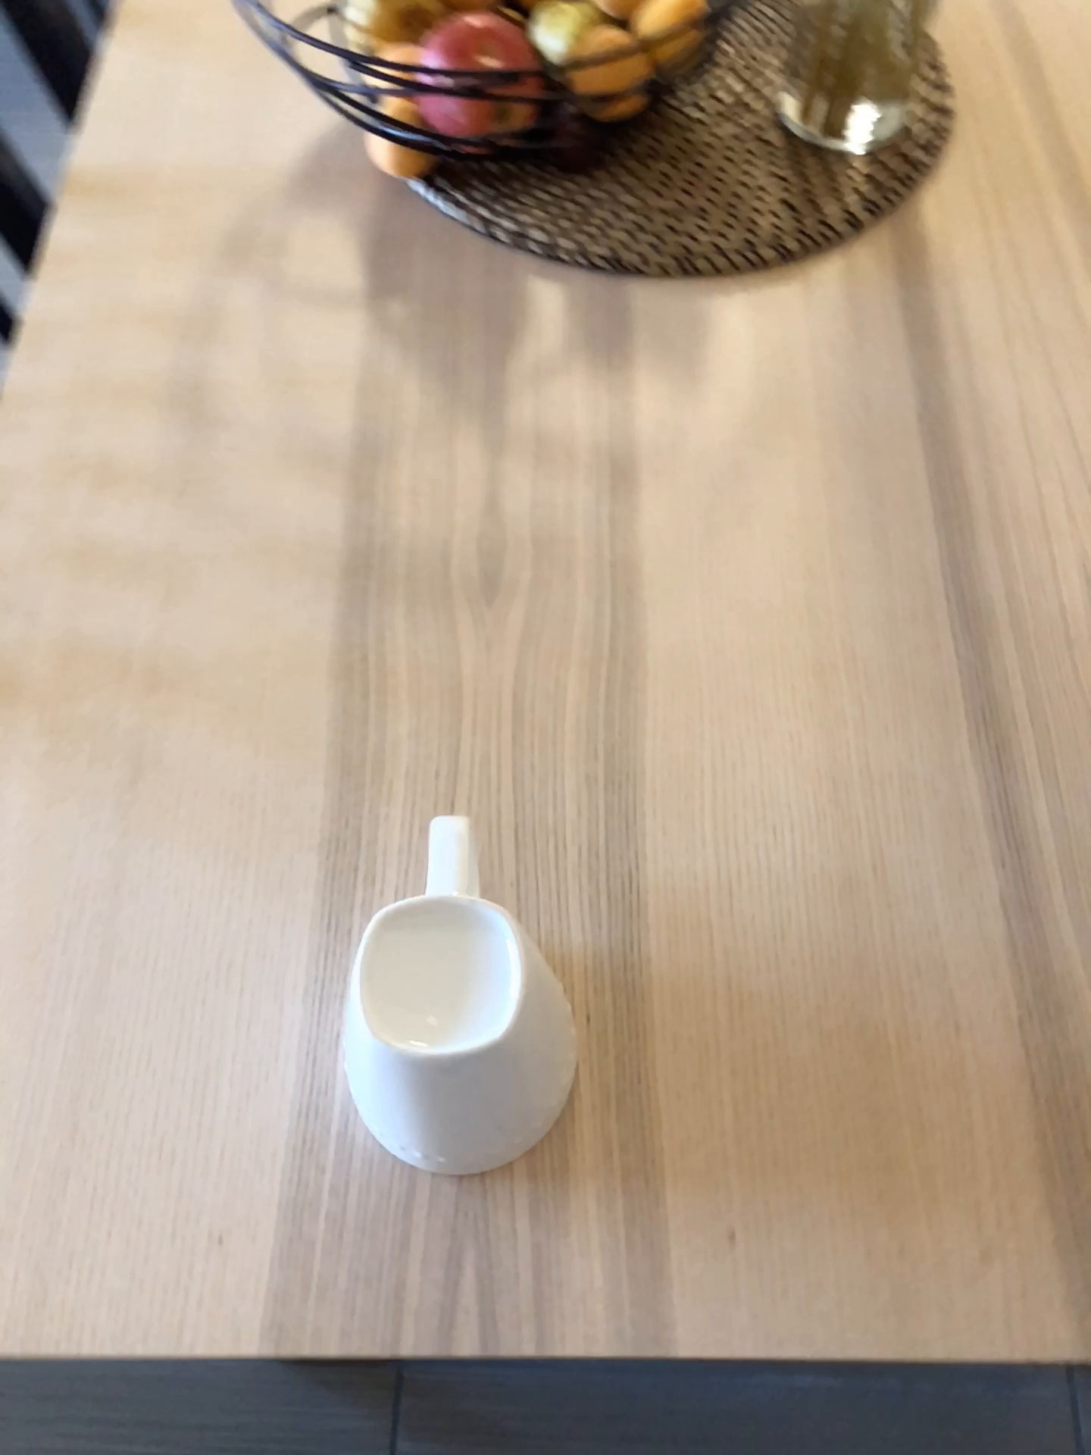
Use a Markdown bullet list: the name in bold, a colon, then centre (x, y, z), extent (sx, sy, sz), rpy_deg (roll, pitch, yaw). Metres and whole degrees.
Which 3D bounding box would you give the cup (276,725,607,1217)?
- **cup**: centre (-0.037, 0.094, 0.452), extent (0.100, 0.120, 0.140), rpy_deg (-6, 61, -2)
